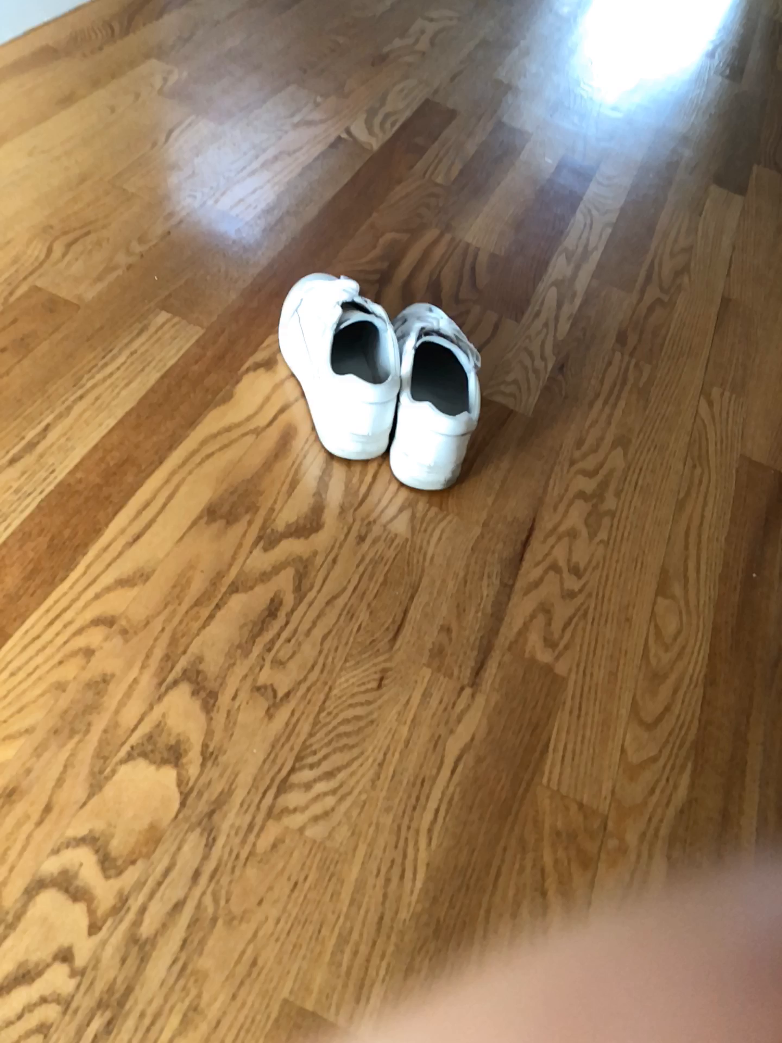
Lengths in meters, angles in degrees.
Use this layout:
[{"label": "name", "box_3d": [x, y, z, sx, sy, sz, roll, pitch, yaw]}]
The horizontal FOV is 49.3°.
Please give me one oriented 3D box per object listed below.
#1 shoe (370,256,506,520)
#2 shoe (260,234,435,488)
[{"label": "shoe", "box_3d": [0.044, -0.143, 0.880, 0.102, 0.106, 0.261, 9, 50, -9]}, {"label": "shoe", "box_3d": [-0.054, -0.170, 0.875, 0.103, 0.104, 0.261, -5, 53, -20]}]
